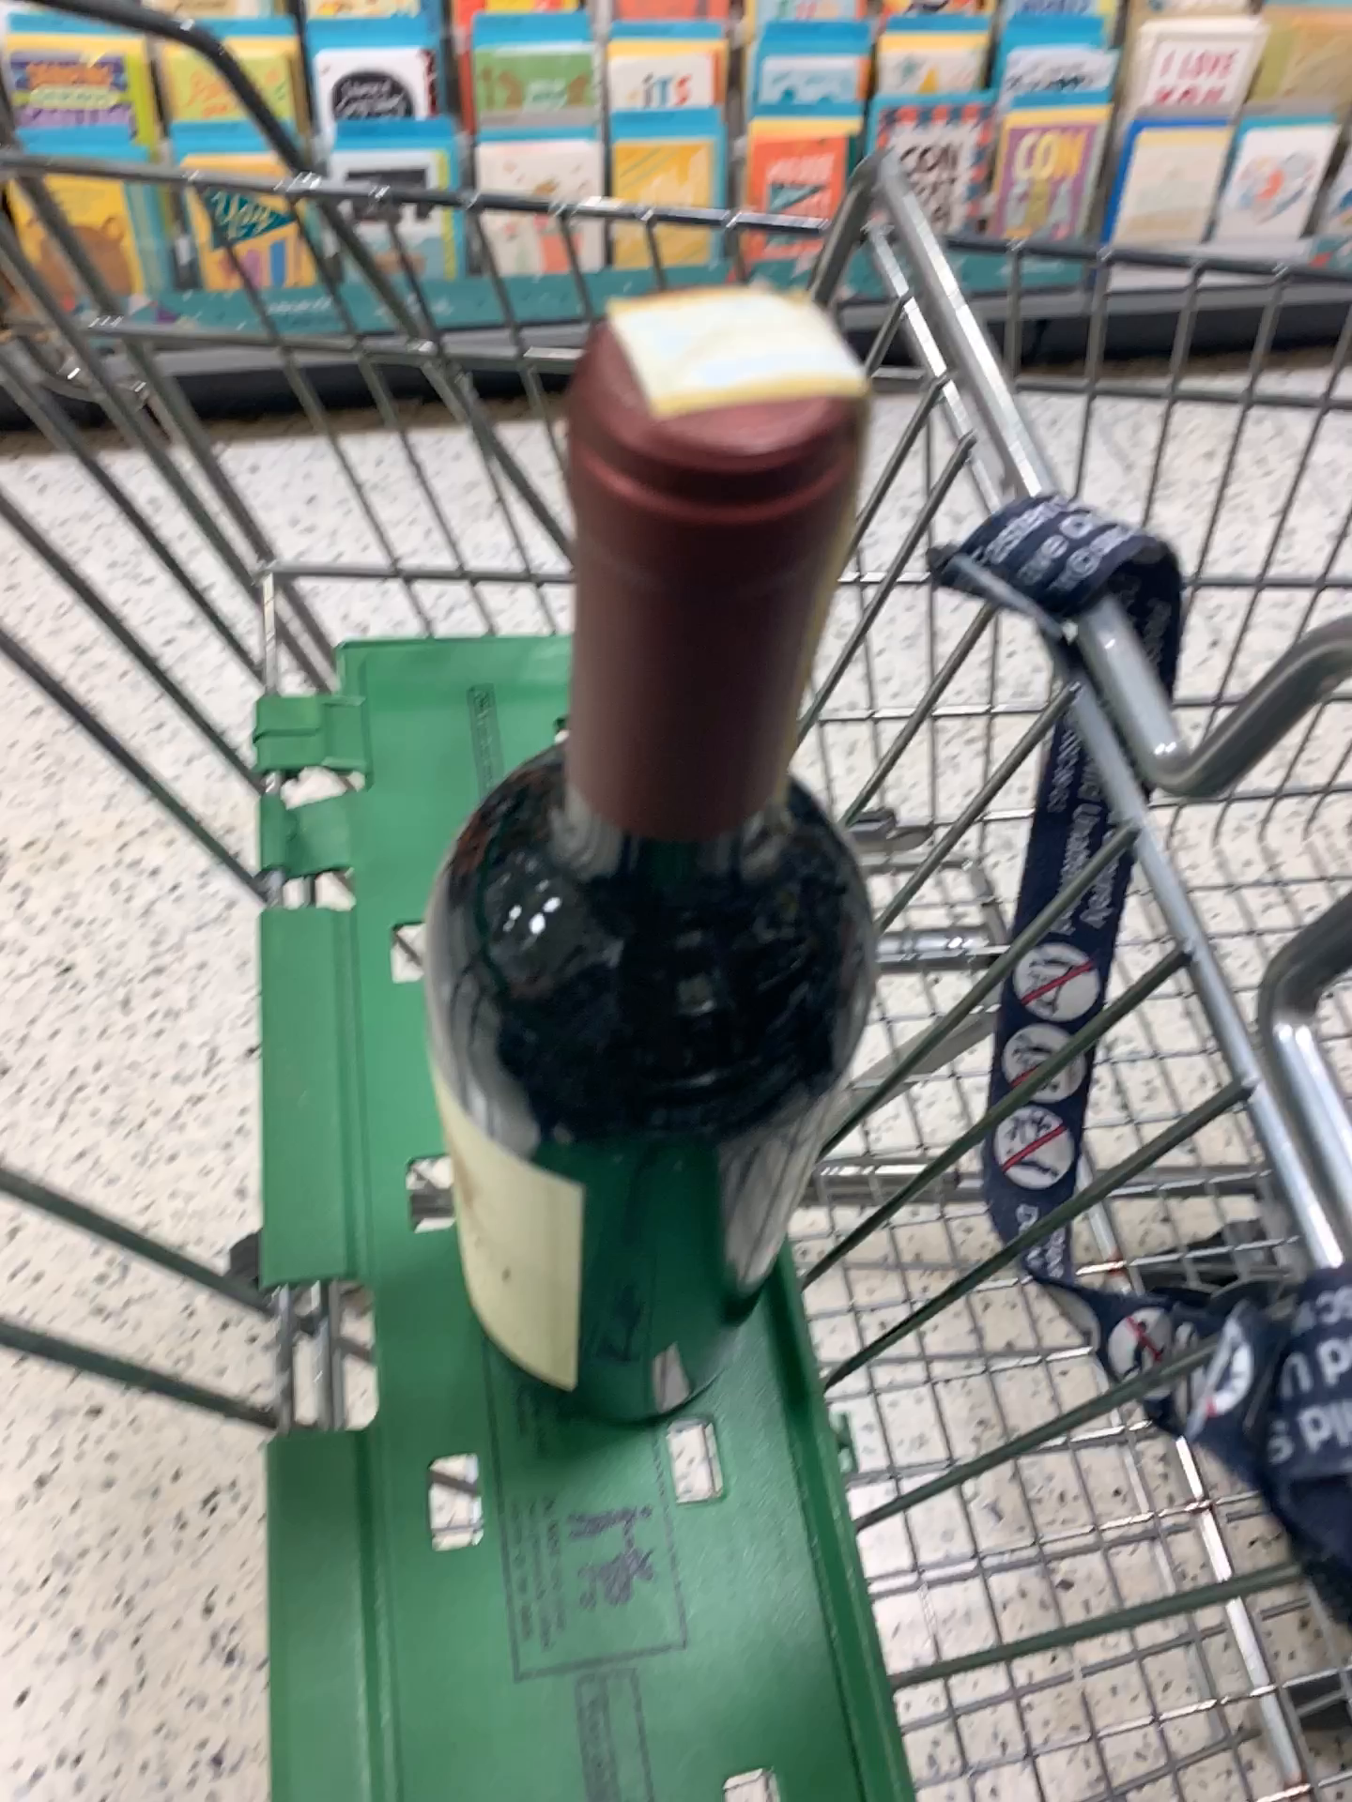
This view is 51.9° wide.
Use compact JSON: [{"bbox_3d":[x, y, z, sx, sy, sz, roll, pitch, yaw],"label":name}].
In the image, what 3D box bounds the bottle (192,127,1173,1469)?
[{"bbox_3d":[-0.015,0.021,0.246,0.080,0.268,0.081,3,56,-4],"label":"bottle"}]
